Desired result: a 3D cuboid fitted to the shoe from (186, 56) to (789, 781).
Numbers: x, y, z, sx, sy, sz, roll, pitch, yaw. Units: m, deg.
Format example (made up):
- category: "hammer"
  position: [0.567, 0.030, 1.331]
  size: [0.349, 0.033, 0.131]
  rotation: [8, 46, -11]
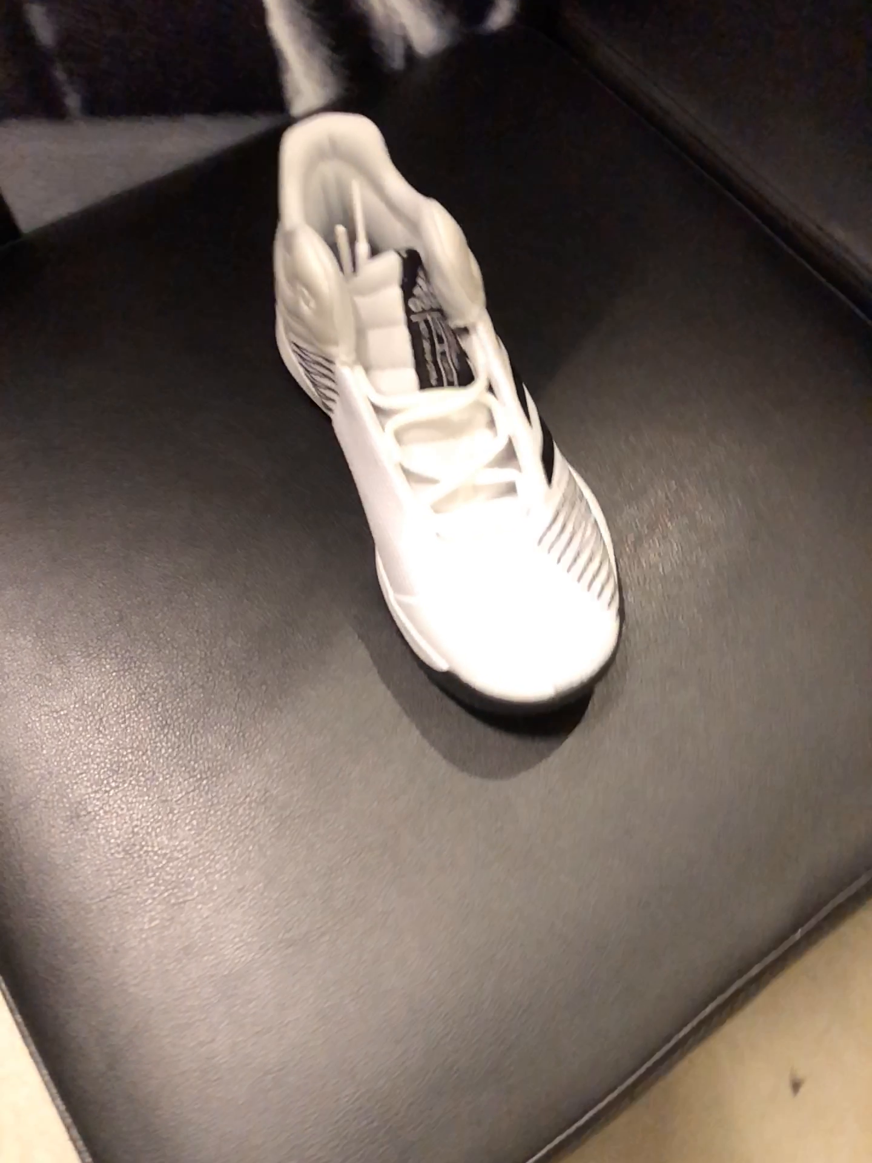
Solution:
- category: "shoe"
  position: [0.005, -0.061, 0.352]
  size: [0.100, 0.110, 0.220]
  rotation: [-23, 67, -12]
